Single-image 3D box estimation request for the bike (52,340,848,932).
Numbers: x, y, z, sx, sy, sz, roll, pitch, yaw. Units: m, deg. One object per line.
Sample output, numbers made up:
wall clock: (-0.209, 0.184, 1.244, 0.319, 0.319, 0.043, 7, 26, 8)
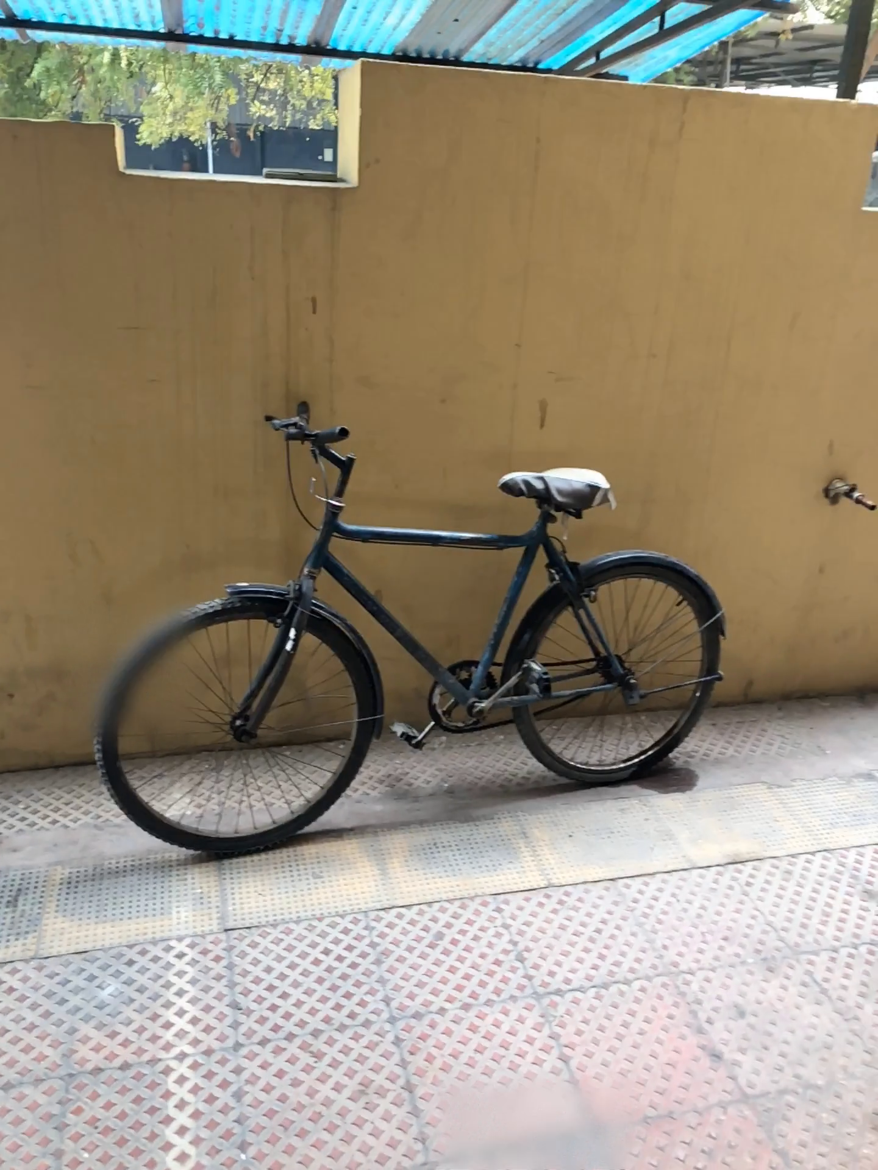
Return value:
bike: (0.053, 0.056, 2.151, 1.546, 0.999, 0.543, -3, 24, -21)
